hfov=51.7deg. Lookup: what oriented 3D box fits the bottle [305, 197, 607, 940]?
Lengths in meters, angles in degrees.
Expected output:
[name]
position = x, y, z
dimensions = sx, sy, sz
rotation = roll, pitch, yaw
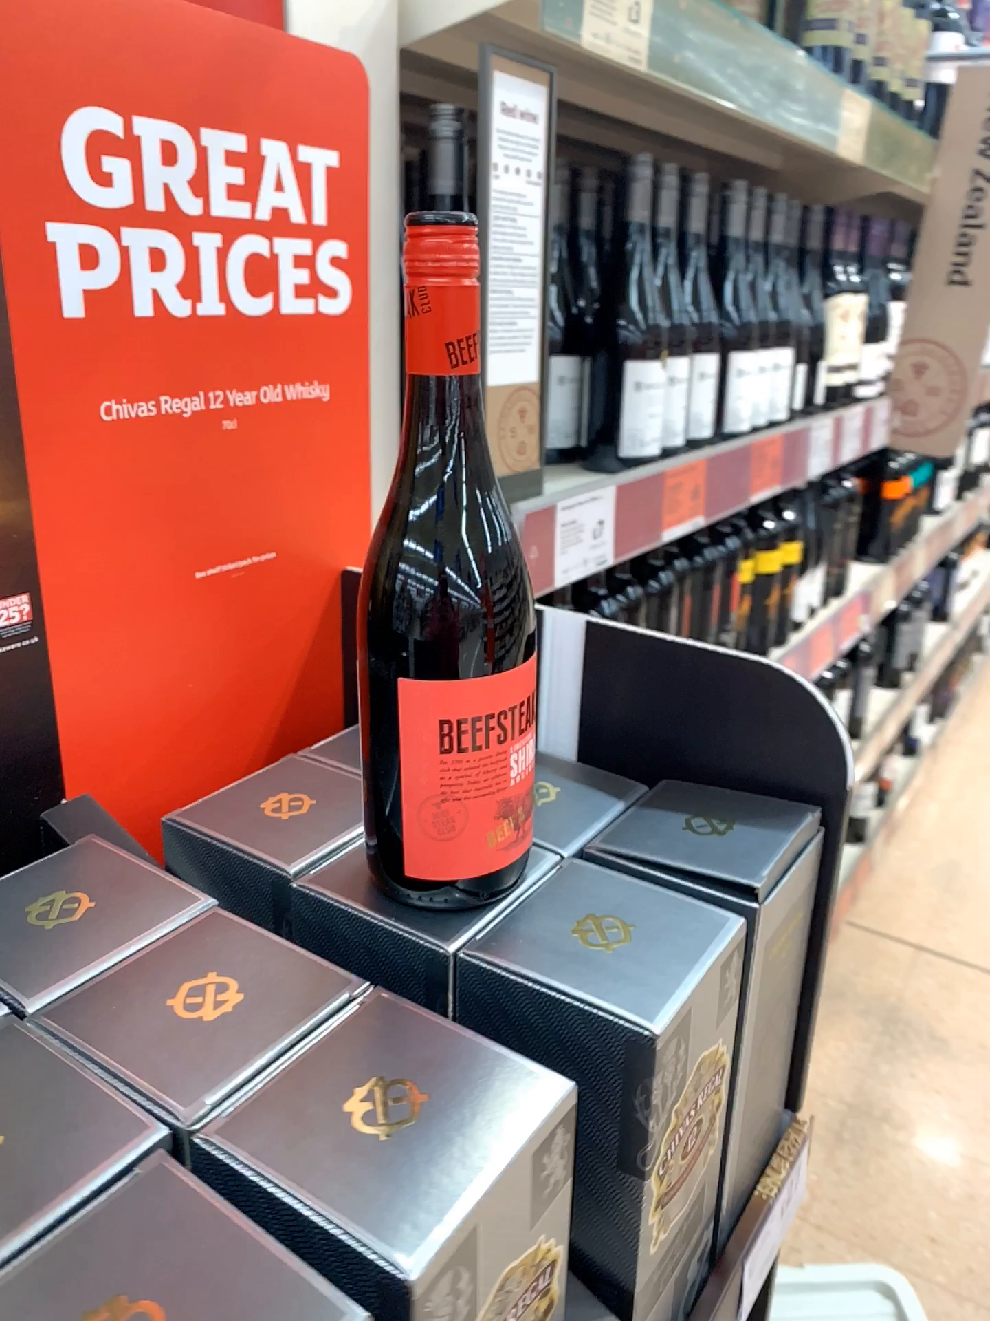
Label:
[bottle]
position = -0.020, -0.037, 0.435
dimensions = 0.083, 0.284, 0.080
rotation = 2, 19, -1
